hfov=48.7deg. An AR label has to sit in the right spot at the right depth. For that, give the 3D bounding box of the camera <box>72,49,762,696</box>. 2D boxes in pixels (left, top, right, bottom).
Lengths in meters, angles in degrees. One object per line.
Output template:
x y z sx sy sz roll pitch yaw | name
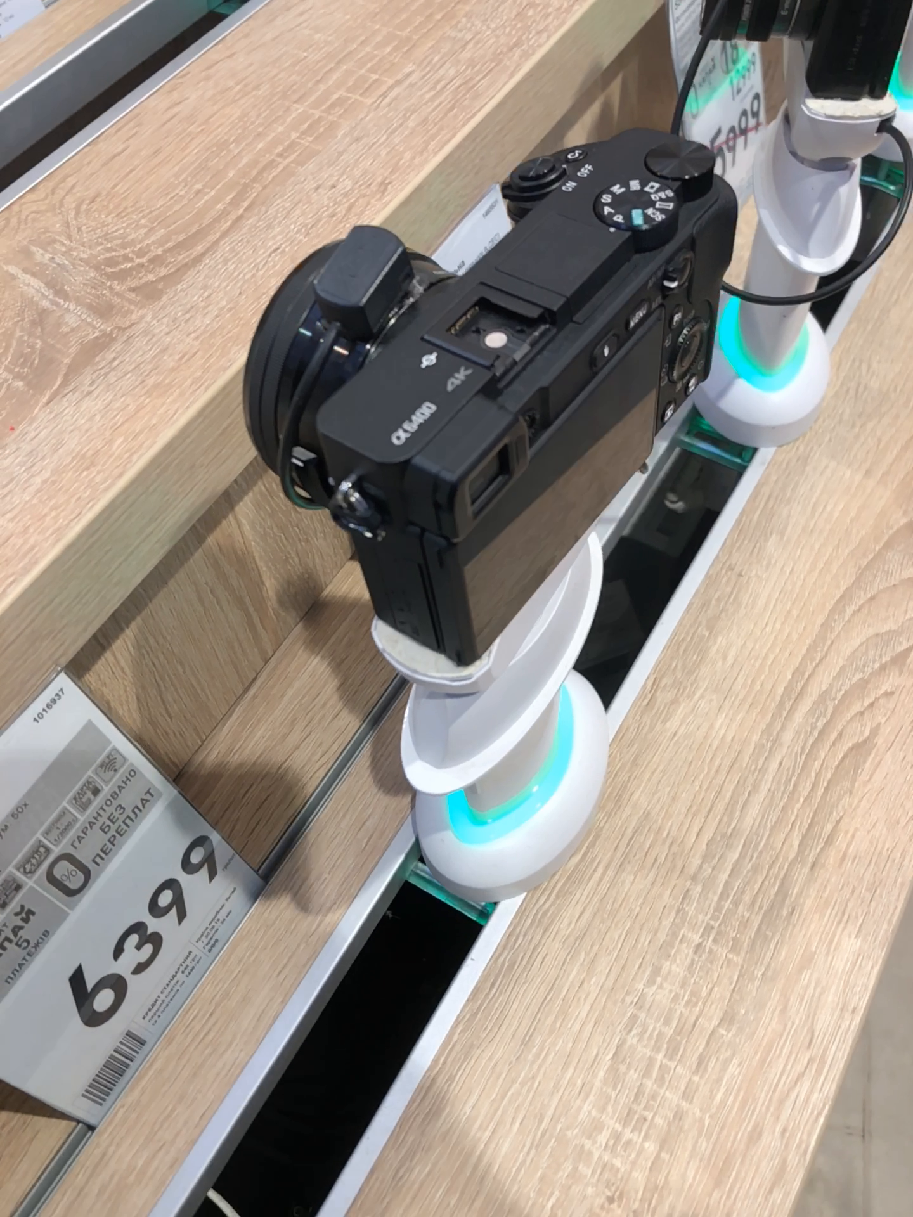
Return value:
-0.003 -0.064 0.249 0.098 0.069 0.122 29 63 23 | camera
